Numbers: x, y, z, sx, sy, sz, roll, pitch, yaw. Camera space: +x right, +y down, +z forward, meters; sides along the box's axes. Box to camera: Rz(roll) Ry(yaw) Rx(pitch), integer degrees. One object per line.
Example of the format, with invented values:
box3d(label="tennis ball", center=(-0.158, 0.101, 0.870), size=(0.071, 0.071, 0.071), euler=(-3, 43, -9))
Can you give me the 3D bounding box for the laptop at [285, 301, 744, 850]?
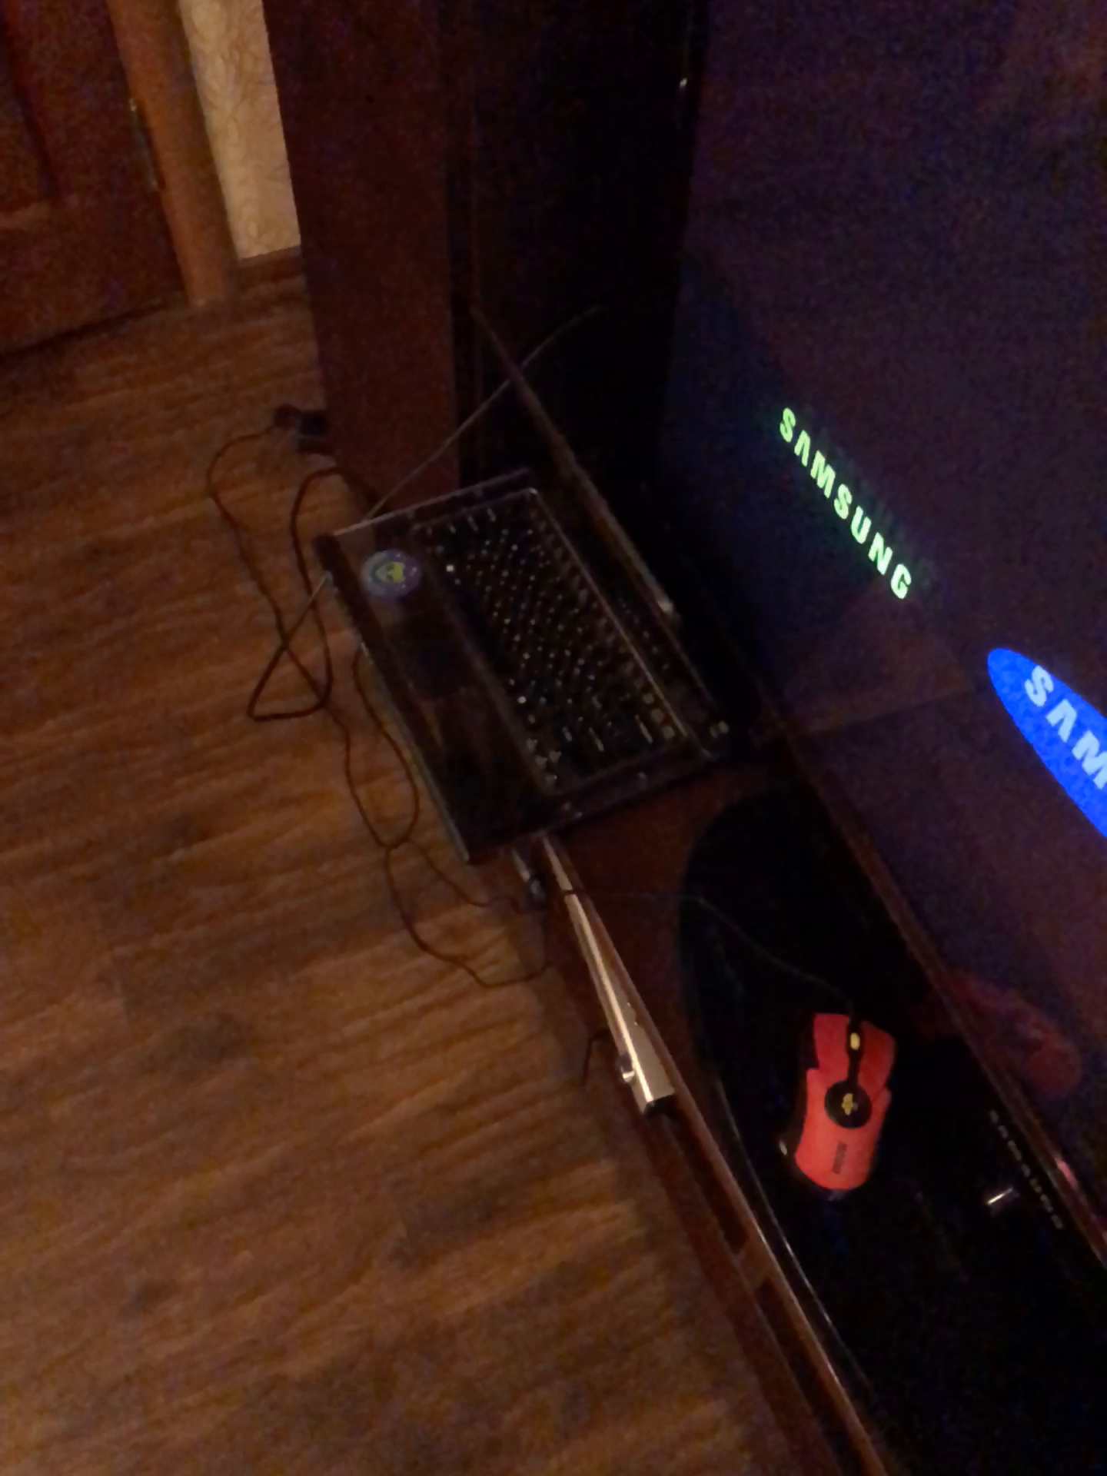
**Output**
box3d(label="laptop", center=(-0.041, -0.130, 0.926), size=(0.200, 0.183, 0.336), euler=(-20, 60, -16))
